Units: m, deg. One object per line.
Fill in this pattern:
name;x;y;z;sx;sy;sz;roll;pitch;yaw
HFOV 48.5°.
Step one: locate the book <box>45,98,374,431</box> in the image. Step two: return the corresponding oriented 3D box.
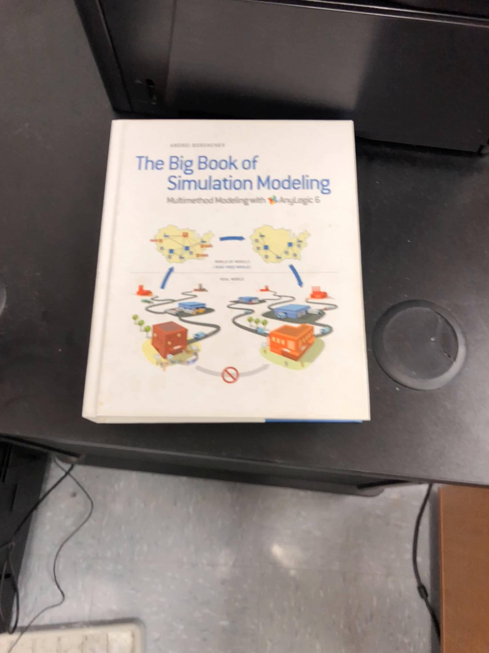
book;-0.021;-0.052;0.410;0.210;0.050;0.250;0;72;1
